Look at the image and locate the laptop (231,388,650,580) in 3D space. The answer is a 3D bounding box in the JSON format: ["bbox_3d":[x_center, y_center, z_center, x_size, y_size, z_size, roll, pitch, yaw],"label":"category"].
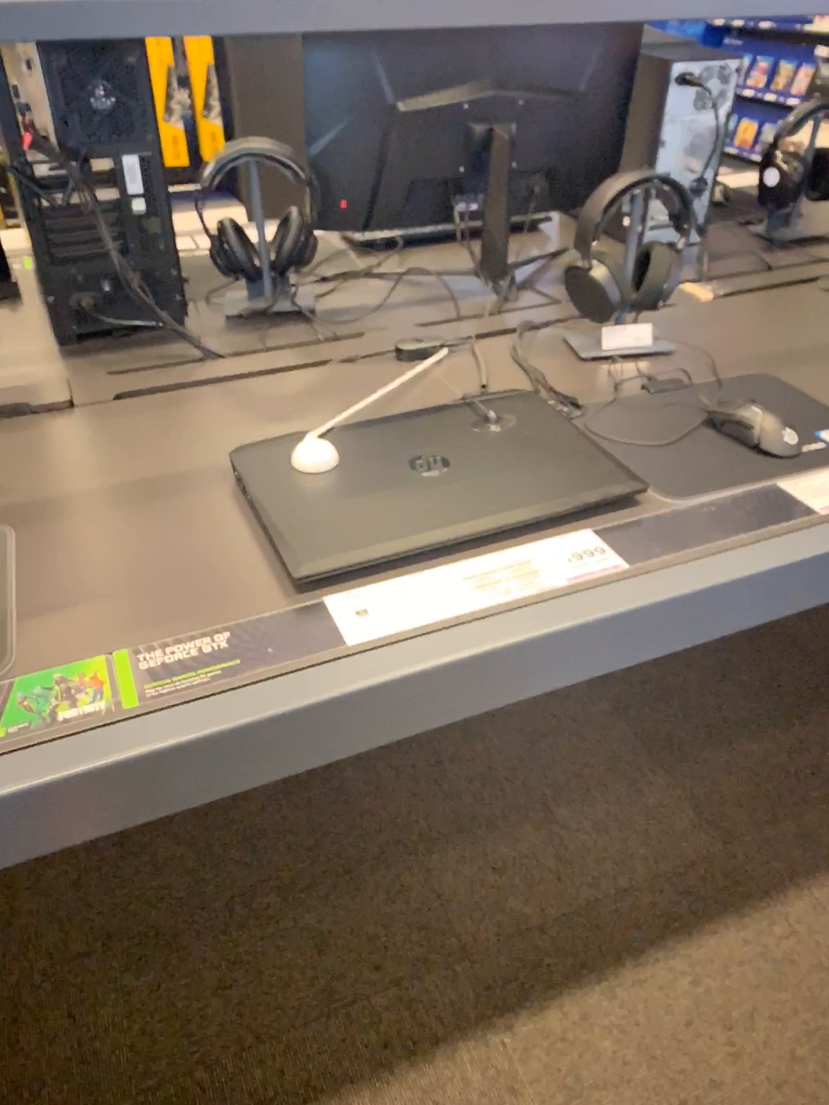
[{"bbox_3d":[0.021,-0.094,0.947,0.395,0.001,0.257,-15,38,-18],"label":"laptop"}]
